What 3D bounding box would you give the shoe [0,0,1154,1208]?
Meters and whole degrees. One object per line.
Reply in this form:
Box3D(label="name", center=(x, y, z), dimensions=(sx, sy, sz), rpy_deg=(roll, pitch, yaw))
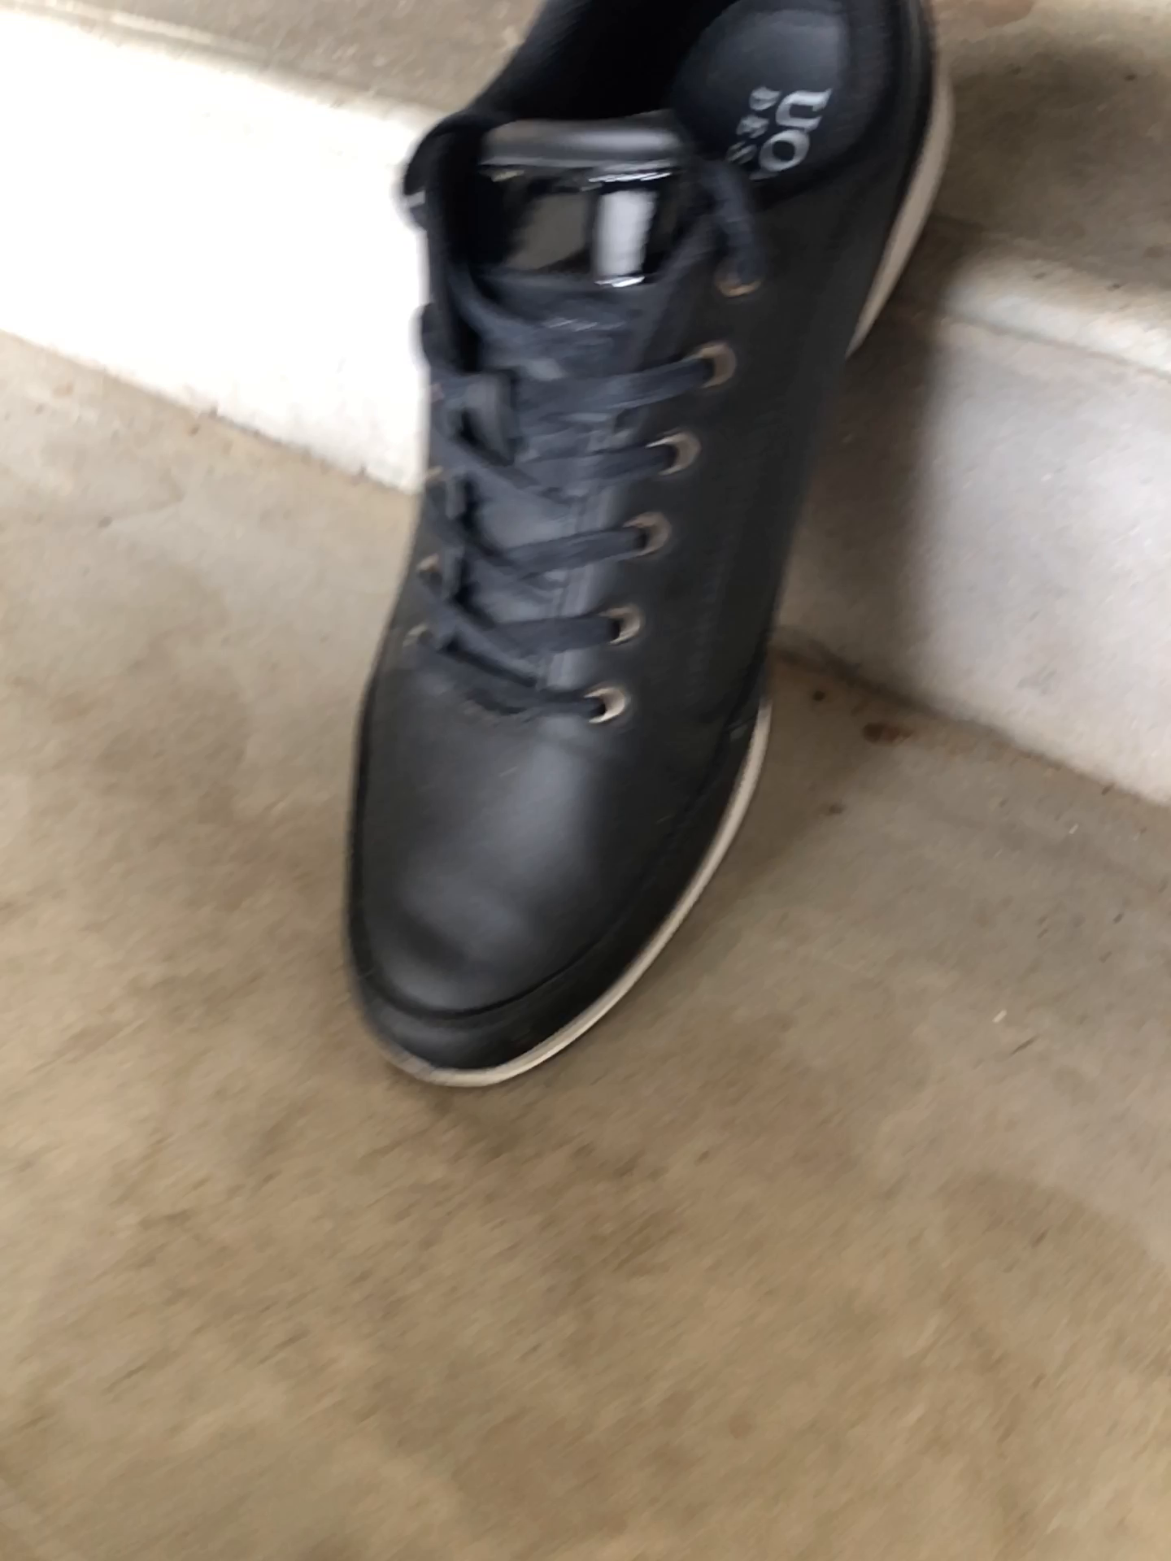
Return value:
Box3D(label="shoe", center=(0.004, -0.073, 0.300), dimensions=(0.130, 0.090, 0.290), rpy_deg=(24, 88, 23))
